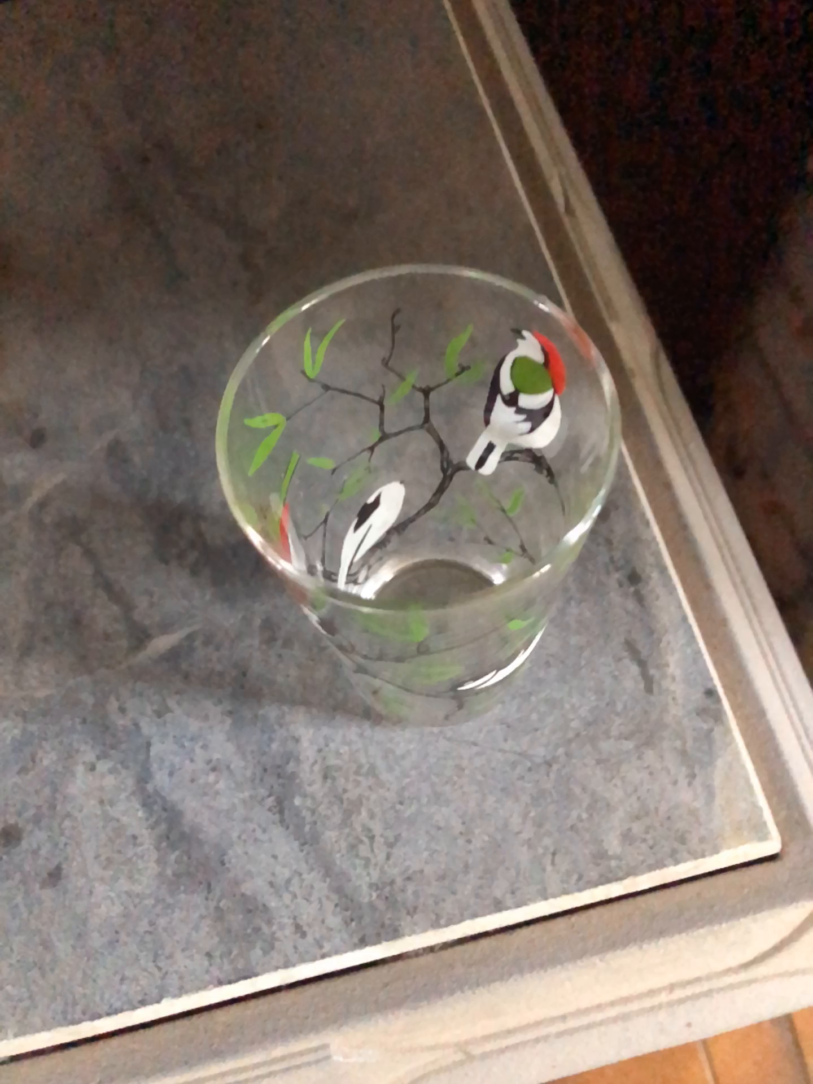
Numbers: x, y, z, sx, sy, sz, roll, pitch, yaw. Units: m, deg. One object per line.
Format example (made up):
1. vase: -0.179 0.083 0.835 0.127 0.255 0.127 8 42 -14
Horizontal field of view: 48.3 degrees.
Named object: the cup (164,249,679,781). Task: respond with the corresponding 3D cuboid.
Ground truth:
1. cup: 0.008 0.004 0.196 0.070 0.110 0.060 13 67 10
